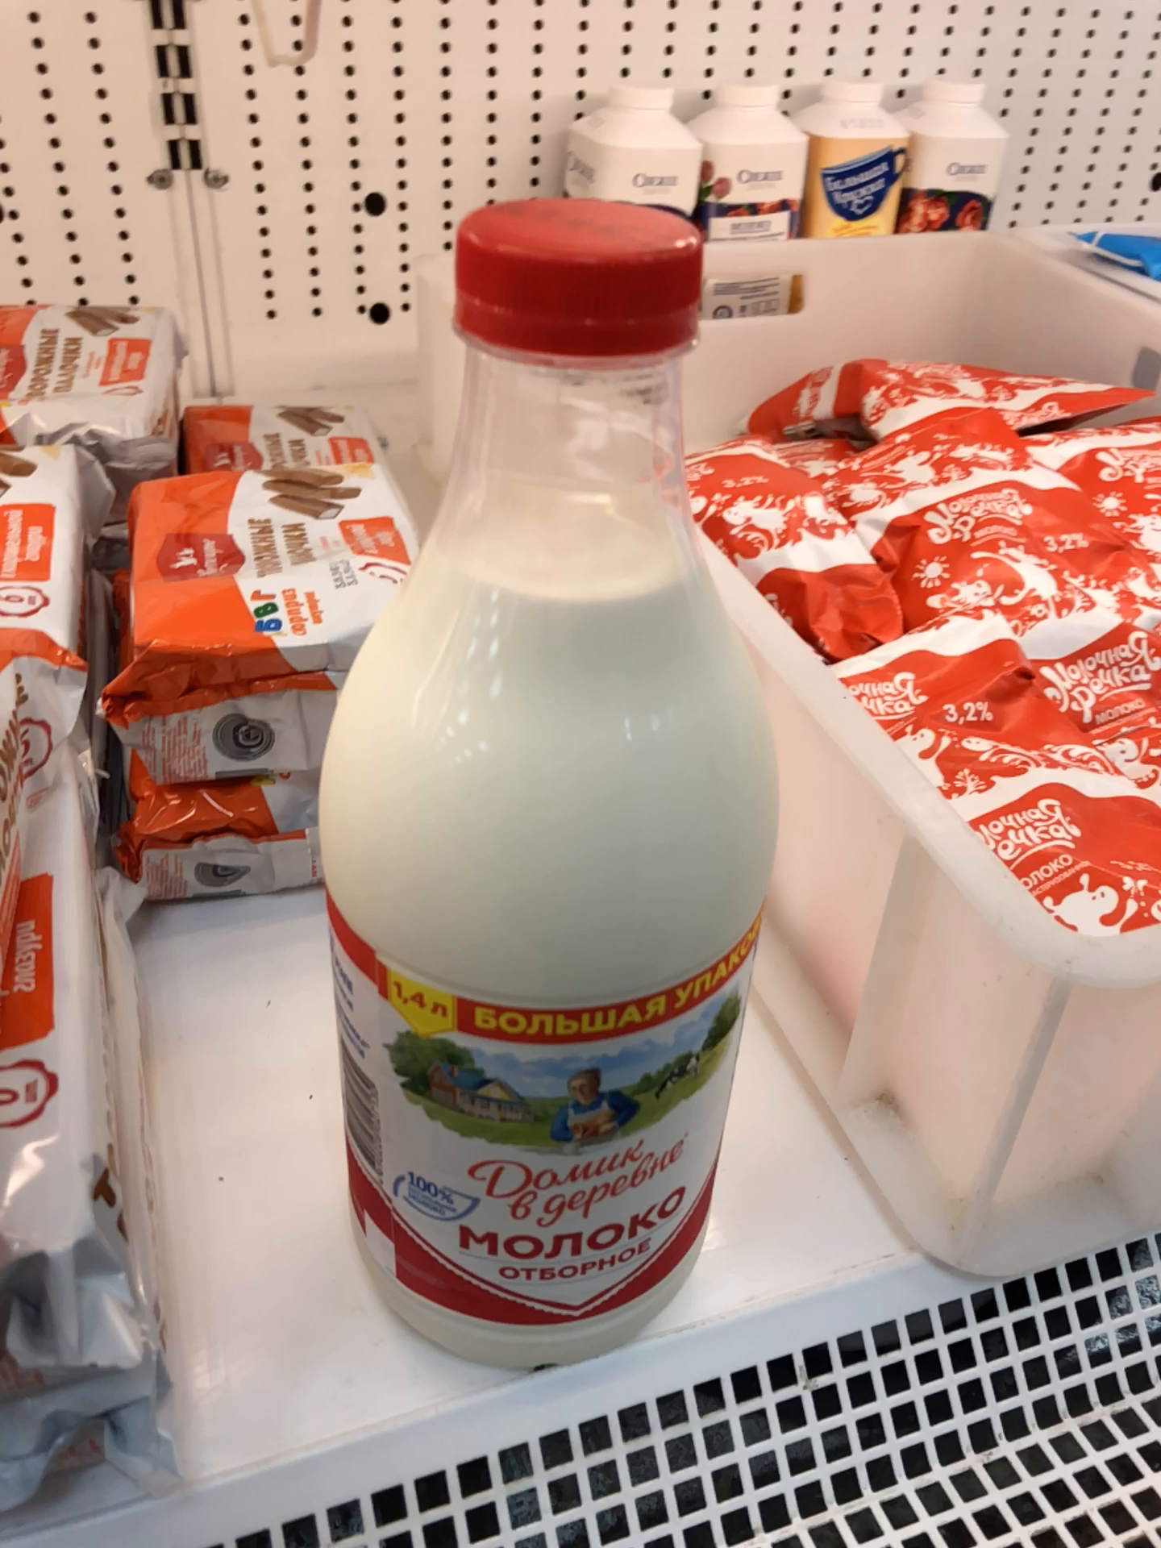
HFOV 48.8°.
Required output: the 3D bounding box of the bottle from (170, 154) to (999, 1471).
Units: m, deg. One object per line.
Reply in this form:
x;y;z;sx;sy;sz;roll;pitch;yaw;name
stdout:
-0.013;0.025;0.280;0.110;0.278;0.090;-7;37;-14;bottle
